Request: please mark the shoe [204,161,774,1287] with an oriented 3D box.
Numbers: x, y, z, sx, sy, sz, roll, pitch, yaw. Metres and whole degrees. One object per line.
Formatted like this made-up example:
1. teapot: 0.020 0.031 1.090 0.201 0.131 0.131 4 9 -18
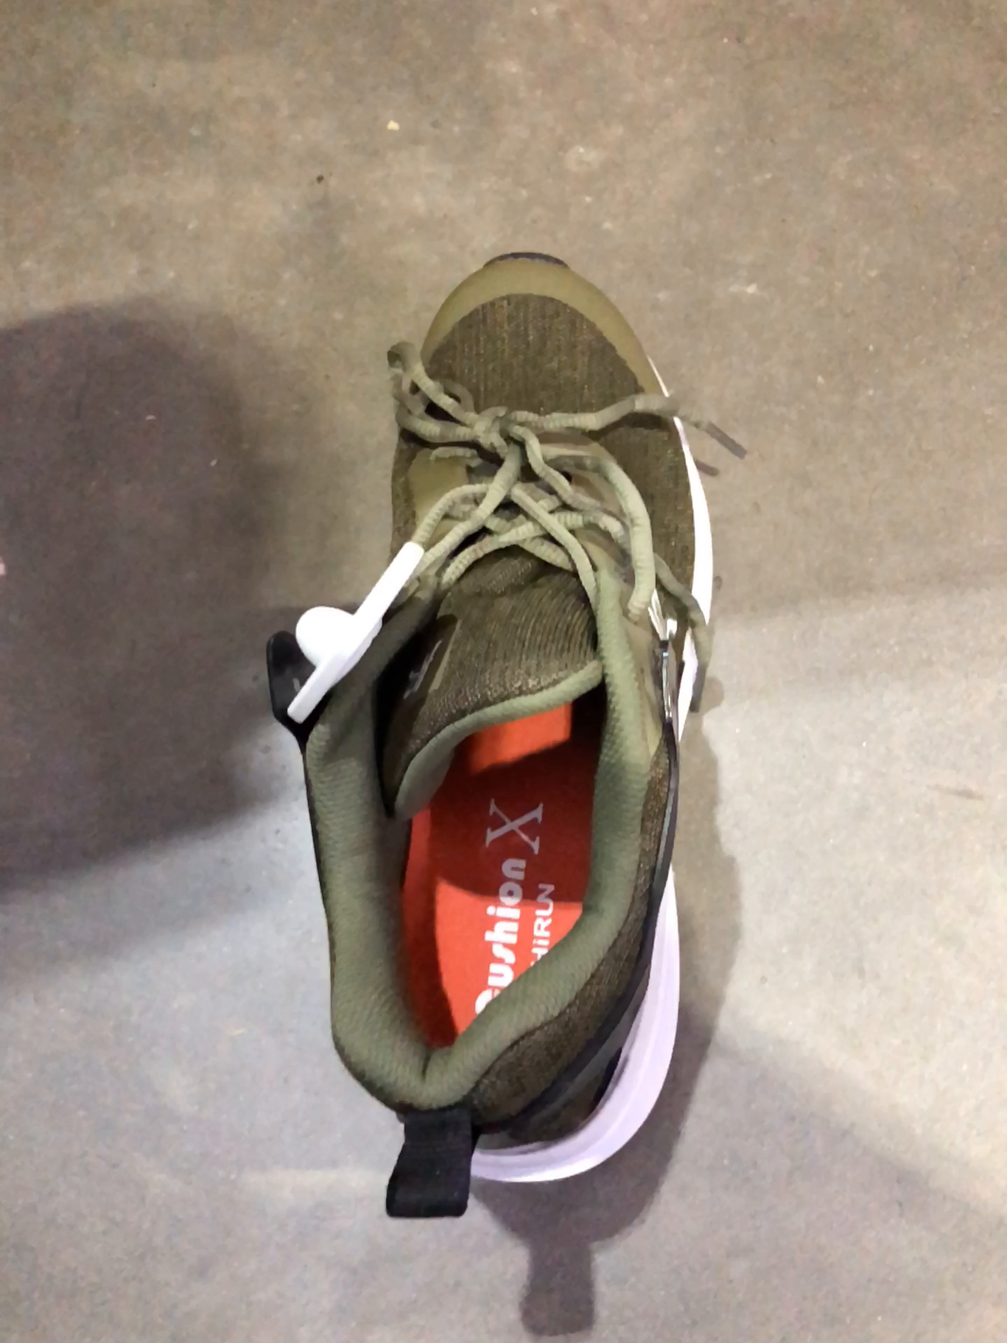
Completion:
1. shoe: 0.007 0.004 0.330 0.120 0.100 0.291 0 70 7
